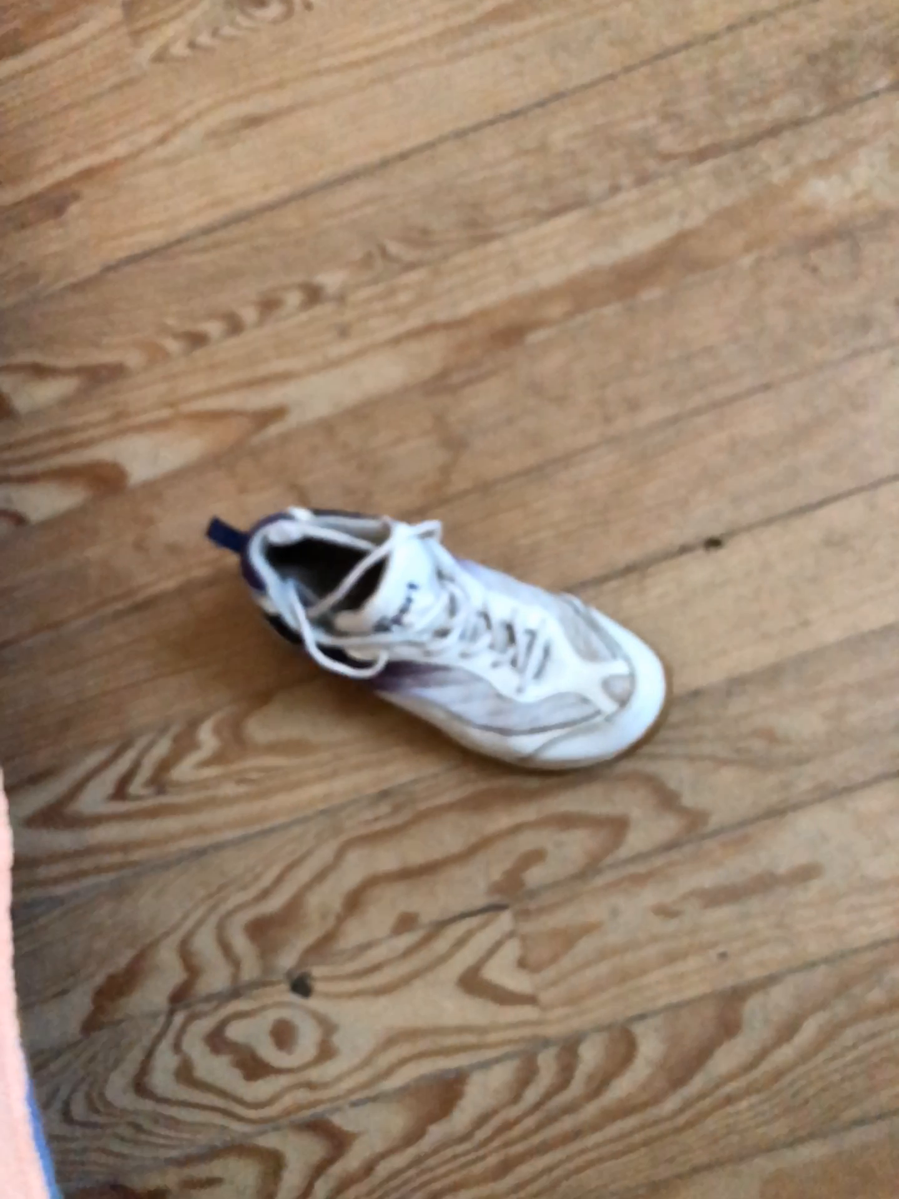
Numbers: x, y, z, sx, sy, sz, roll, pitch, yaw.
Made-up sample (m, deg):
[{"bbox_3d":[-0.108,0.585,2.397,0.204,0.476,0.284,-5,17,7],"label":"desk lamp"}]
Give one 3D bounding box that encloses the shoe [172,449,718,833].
[{"bbox_3d":[0.000,0.024,0.564,0.260,0.100,0.110,21,84,12],"label":"shoe"}]
